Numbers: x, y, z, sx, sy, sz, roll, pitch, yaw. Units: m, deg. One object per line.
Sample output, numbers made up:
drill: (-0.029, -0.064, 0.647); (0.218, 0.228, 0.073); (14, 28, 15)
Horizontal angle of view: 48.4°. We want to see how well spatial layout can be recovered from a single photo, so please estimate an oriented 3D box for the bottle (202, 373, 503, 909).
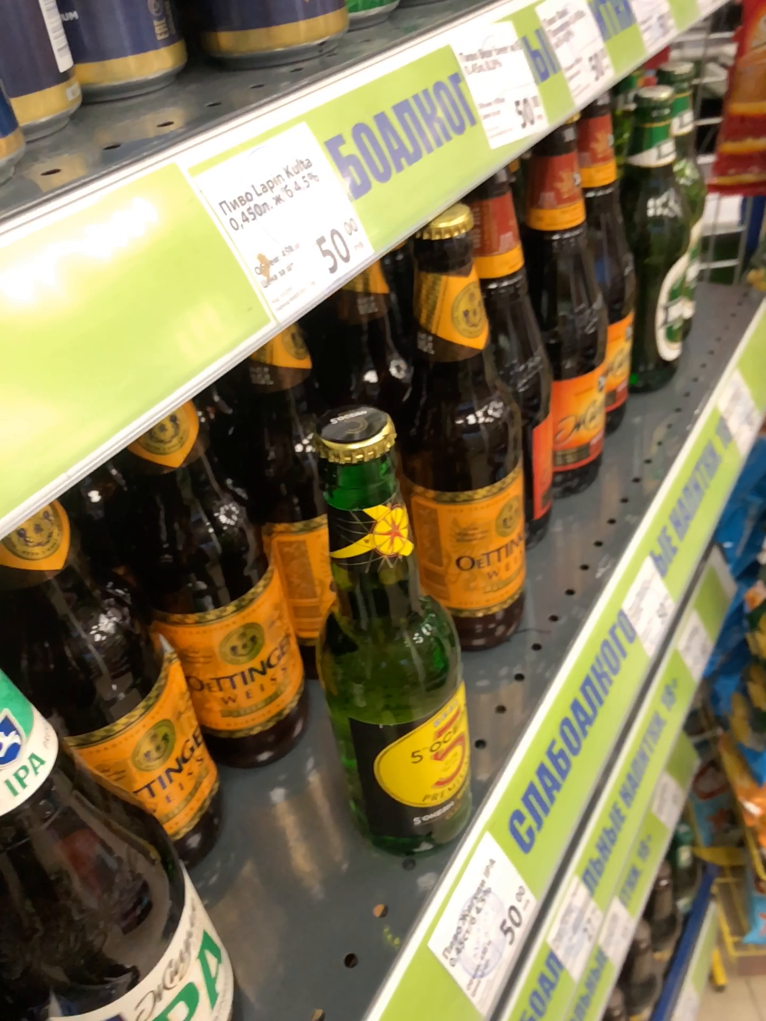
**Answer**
bottle: (0.000, 0.061, 0.344); (0.070, 0.210, 0.070); (-4, 38, 3)
